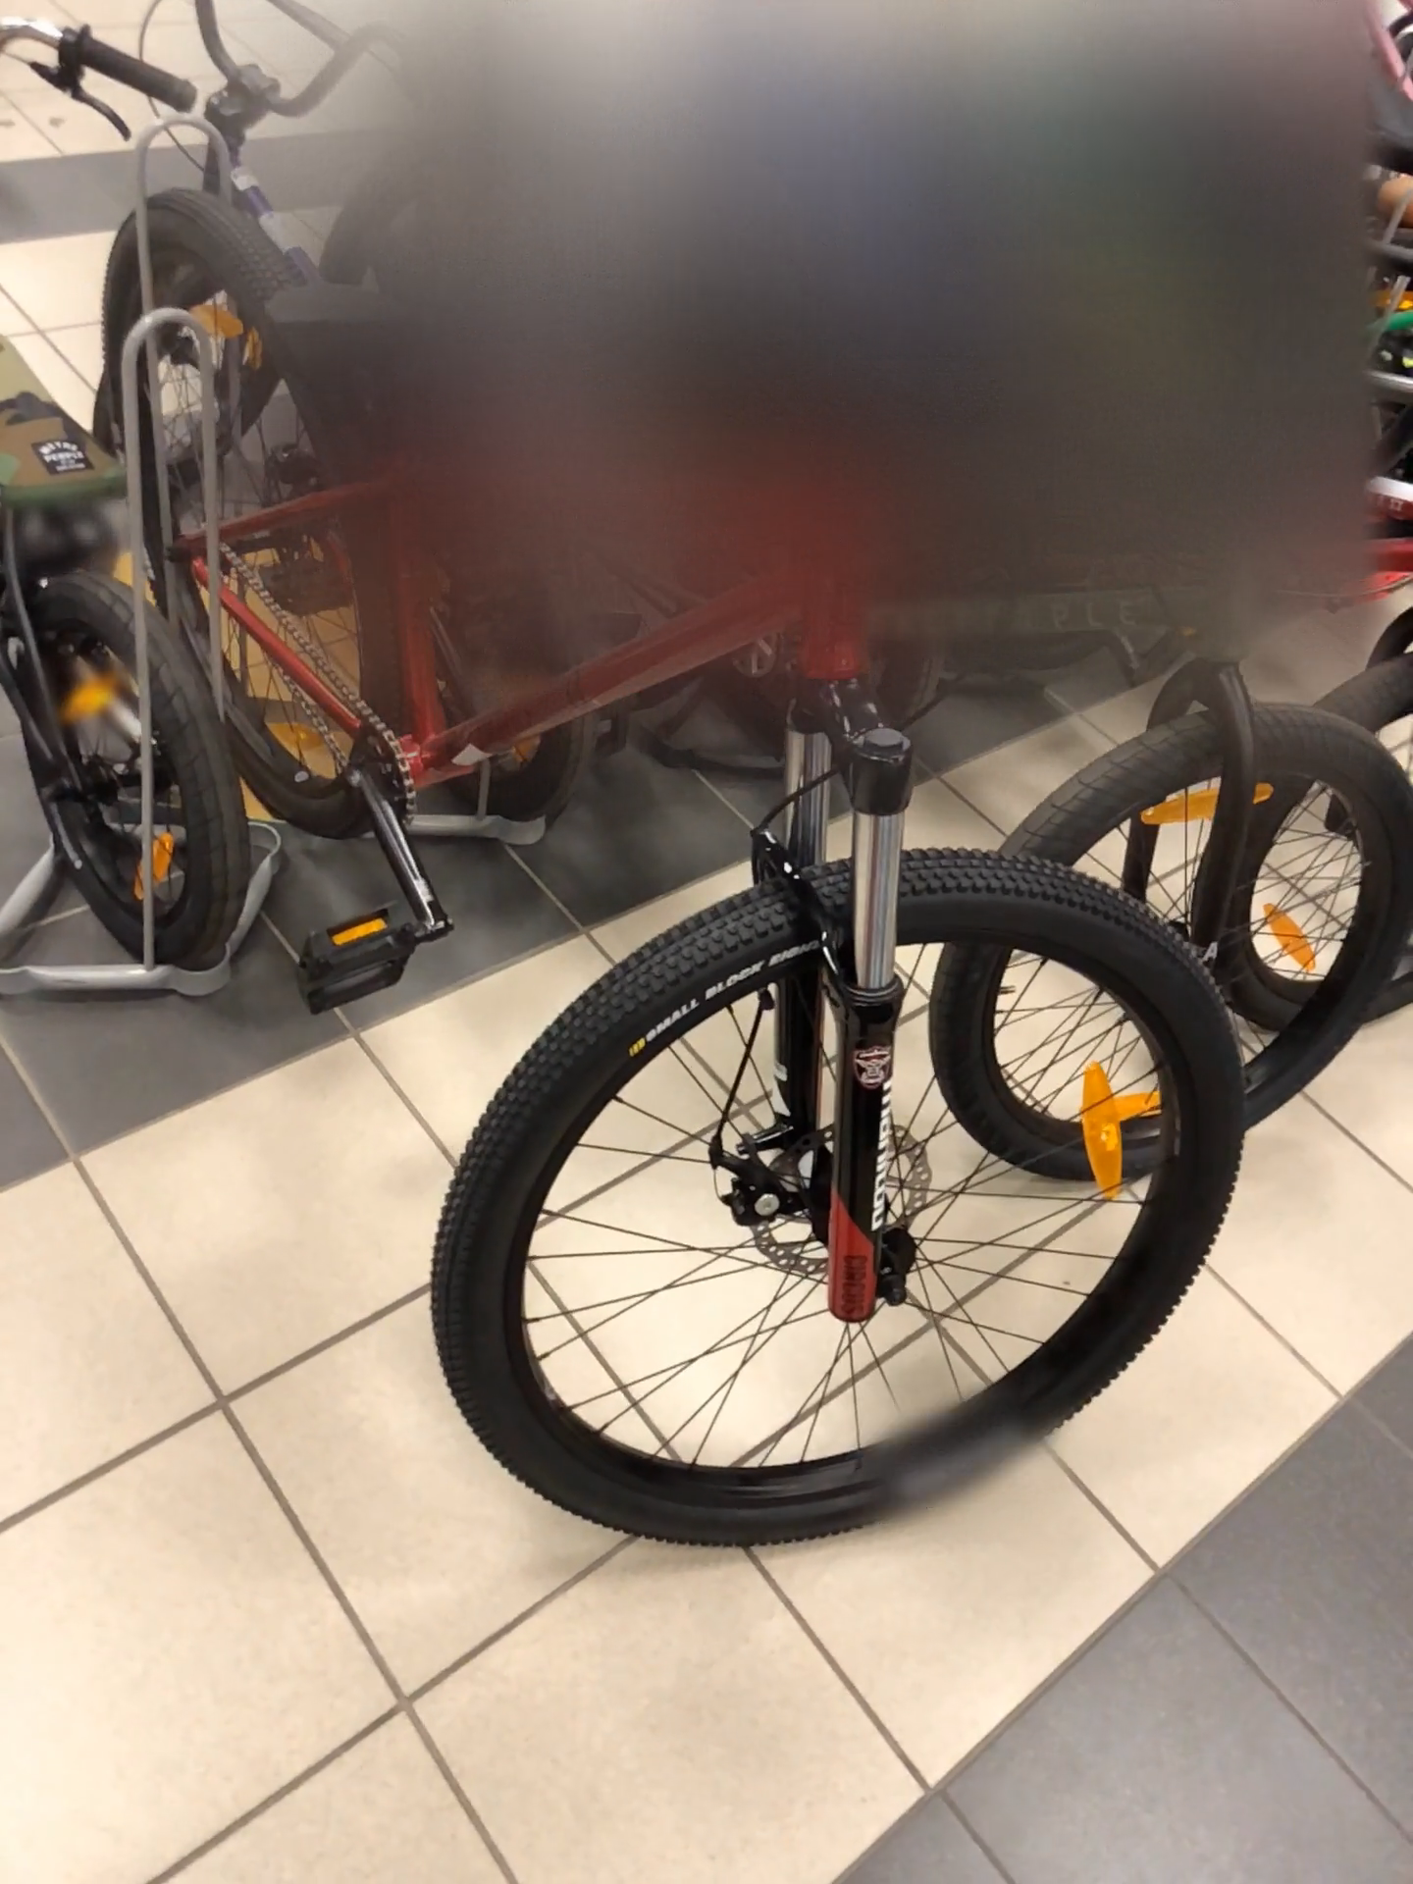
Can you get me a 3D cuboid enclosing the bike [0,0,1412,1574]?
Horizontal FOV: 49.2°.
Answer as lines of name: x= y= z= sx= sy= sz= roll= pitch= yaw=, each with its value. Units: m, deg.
bike: x=-0.166 y=-0.345 z=1.322 sx=1.338 sy=0.998 sz=0.714 roll=38 pitch=49 yaw=23
